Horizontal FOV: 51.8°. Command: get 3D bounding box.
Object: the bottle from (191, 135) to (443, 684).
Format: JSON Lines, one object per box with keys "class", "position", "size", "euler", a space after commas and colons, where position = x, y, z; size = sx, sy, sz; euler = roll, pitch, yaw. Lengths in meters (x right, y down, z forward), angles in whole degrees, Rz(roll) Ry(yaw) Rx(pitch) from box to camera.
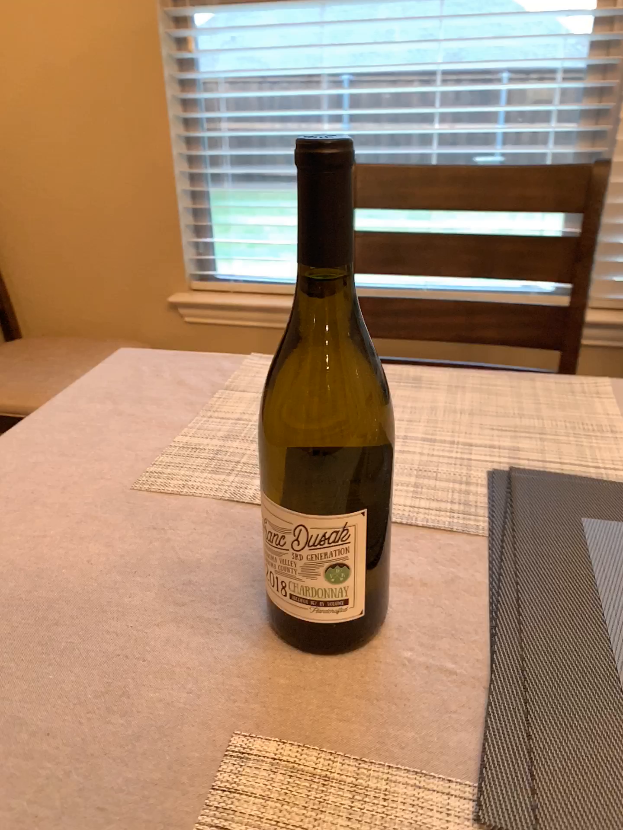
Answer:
{"class": "bottle", "position": [0.007, 0.001, 0.362], "size": [0.090, 0.289, 0.080], "euler": [13, 29, 27]}
